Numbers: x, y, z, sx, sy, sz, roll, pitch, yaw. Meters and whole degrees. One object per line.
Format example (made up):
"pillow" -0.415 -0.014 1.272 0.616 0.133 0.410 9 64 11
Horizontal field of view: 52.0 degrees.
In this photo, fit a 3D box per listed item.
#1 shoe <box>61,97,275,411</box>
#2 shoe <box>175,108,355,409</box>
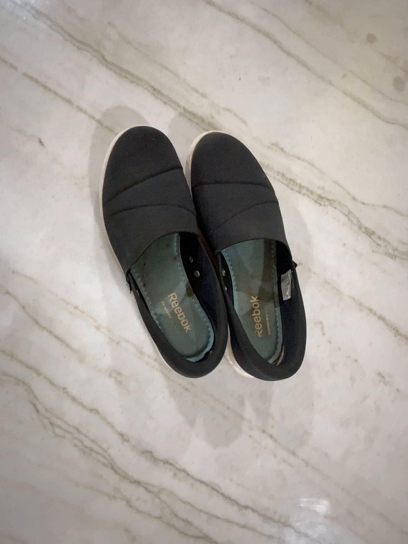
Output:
"shoe" -0.033 -0.015 0.364 0.091 0.079 0.229 -21 87 -10
"shoe" 0.046 -0.013 0.374 0.091 0.079 0.229 -12 86 -9
